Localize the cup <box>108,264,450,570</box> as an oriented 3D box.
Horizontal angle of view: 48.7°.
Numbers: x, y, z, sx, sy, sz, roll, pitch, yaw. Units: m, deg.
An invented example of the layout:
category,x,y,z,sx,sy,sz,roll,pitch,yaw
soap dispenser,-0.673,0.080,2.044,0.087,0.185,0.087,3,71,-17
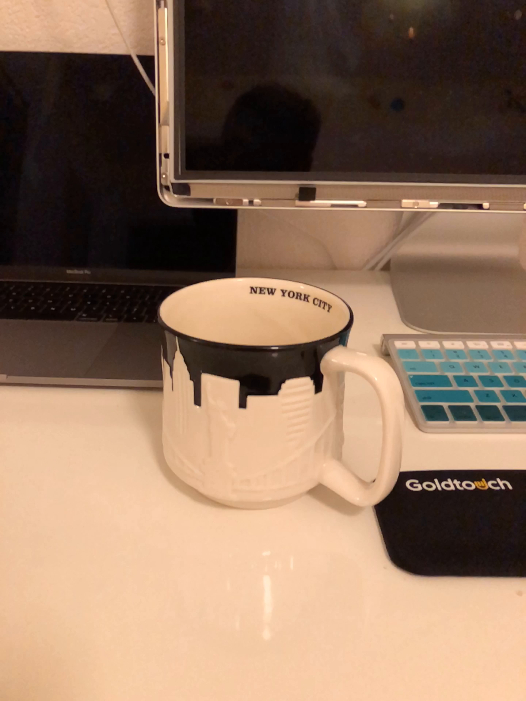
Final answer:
category,x,y,z,sx,sy,sz,roll,pitch,yaw
cup,0.011,0.022,0.317,0.140,0.090,0.110,15,29,25
